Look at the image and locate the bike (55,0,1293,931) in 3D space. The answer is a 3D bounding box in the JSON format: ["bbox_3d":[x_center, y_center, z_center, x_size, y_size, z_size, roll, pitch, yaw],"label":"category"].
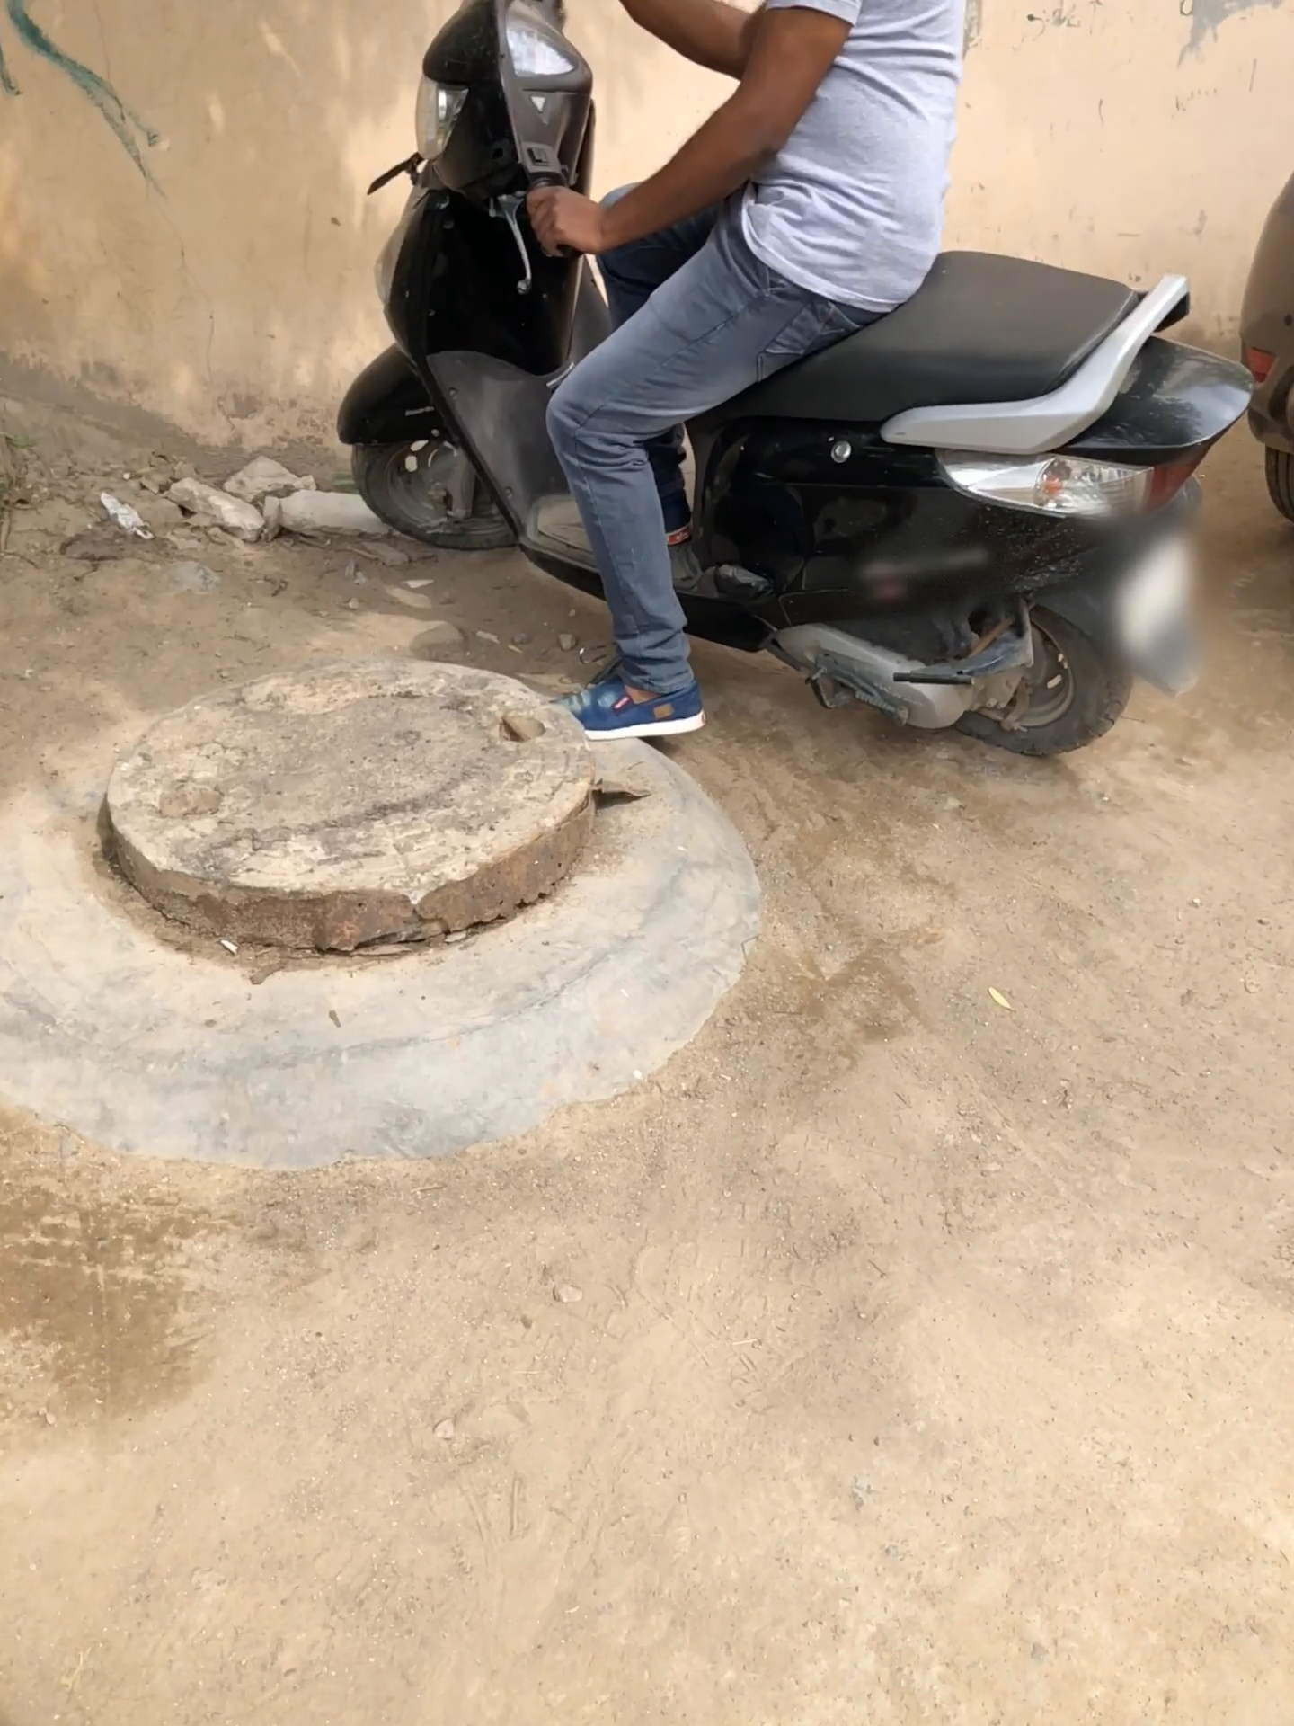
[{"bbox_3d":[-0.002,-0.836,2.337,1.650,1.228,0.656,20,36,25],"label":"bike"}]
